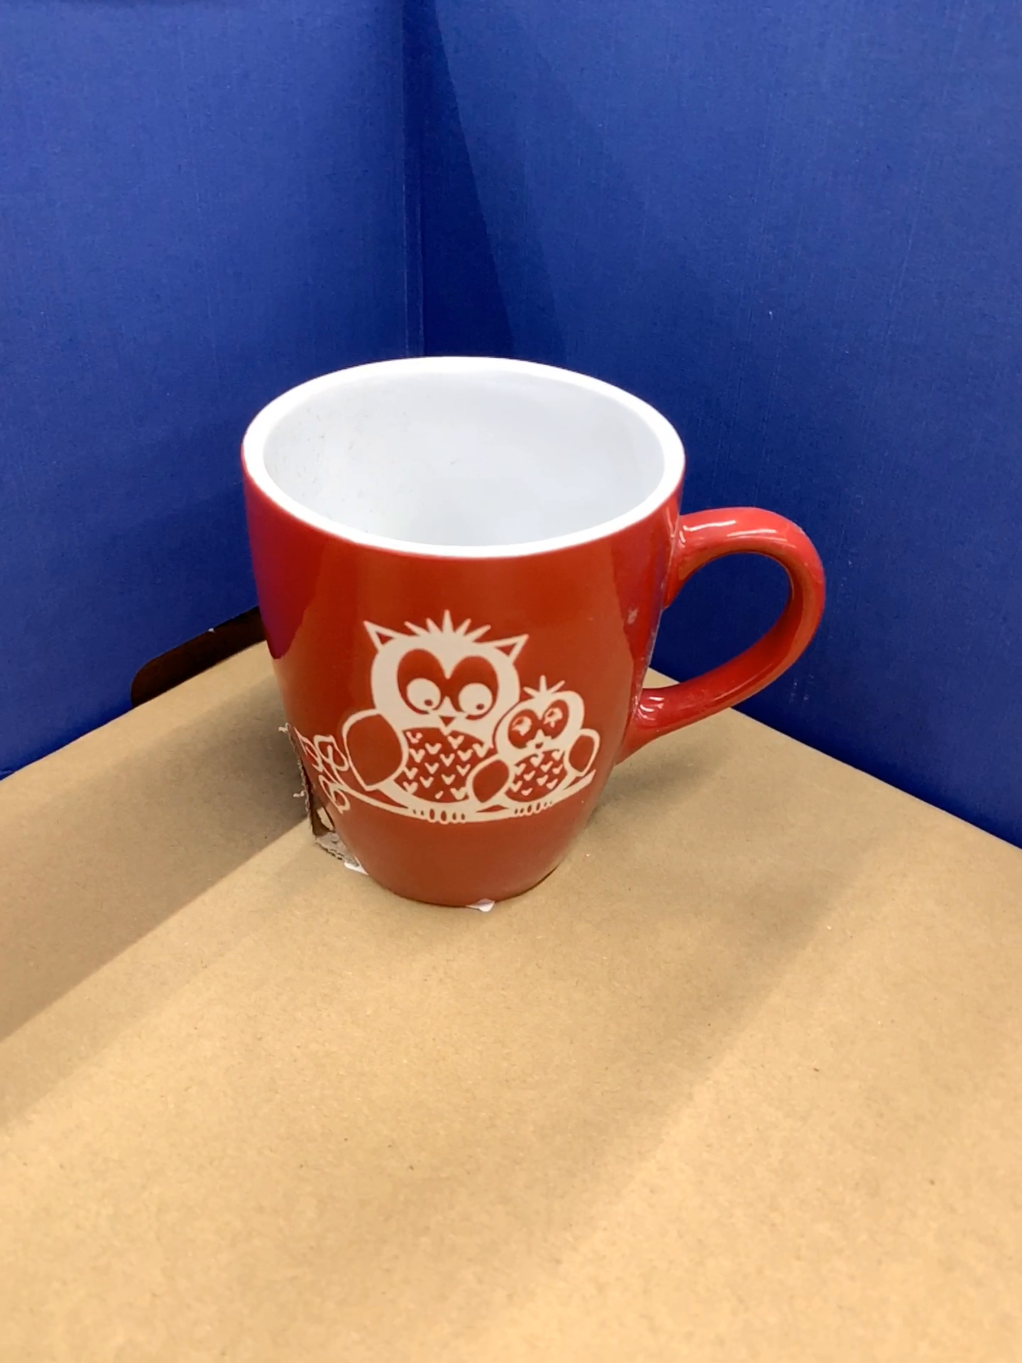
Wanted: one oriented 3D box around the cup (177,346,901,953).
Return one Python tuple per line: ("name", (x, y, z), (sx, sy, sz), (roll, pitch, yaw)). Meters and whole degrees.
("cup", (-0.001, -0.014, 0.239), (0.120, 0.091, 0.100), (-3, 35, -8))
